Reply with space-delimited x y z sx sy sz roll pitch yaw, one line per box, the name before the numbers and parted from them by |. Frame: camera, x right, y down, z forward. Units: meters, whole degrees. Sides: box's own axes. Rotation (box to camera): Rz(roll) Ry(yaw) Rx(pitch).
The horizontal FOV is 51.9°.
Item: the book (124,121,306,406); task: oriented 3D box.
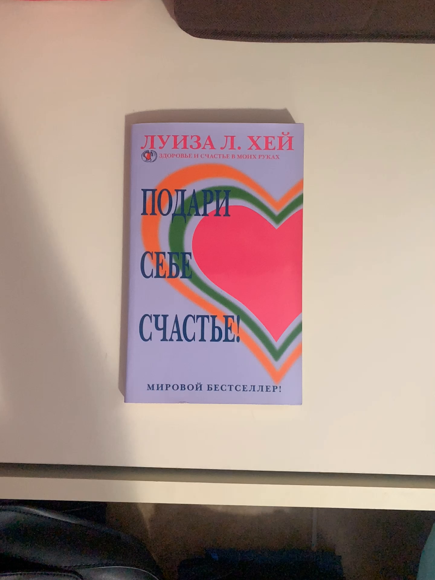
book | -0.001 -0.019 0.314 0.123 0.016 0.194 0 88 0
